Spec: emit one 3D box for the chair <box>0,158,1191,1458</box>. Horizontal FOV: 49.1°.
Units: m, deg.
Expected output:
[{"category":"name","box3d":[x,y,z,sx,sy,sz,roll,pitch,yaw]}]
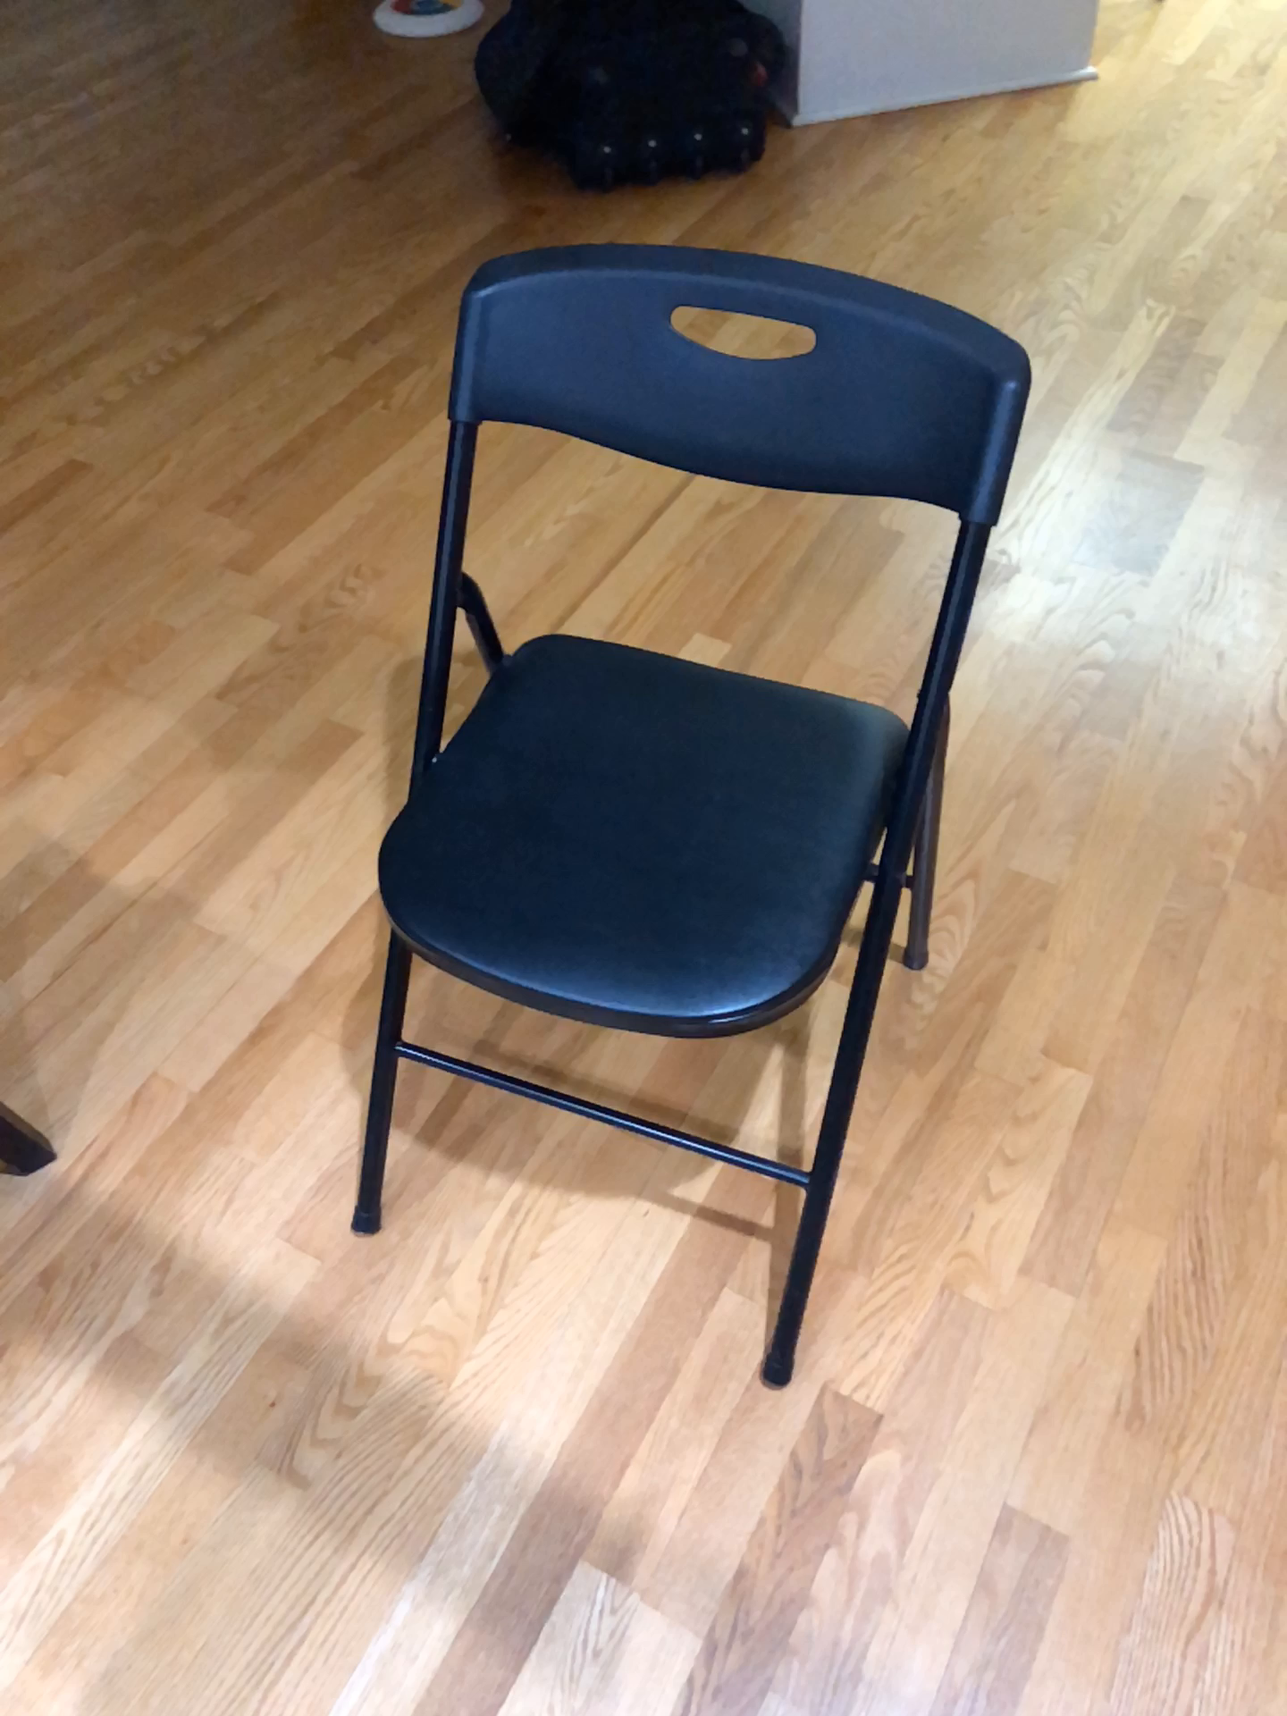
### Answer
[{"category":"chair","box3d":[0.010,-0.061,1.154,0.610,0.657,0.683,14,51,15]}]
